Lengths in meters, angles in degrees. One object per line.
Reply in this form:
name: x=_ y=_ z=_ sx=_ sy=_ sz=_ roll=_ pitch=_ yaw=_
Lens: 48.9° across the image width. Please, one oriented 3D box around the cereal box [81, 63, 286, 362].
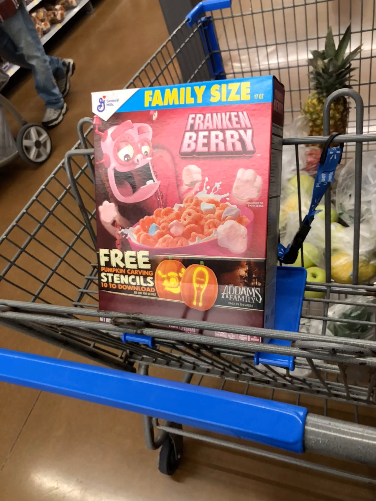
cereal box: x=-0.010 y=-0.045 z=0.525 sx=0.240 sy=0.320 sz=0.070 roll=5 pitch=11 yaw=25
